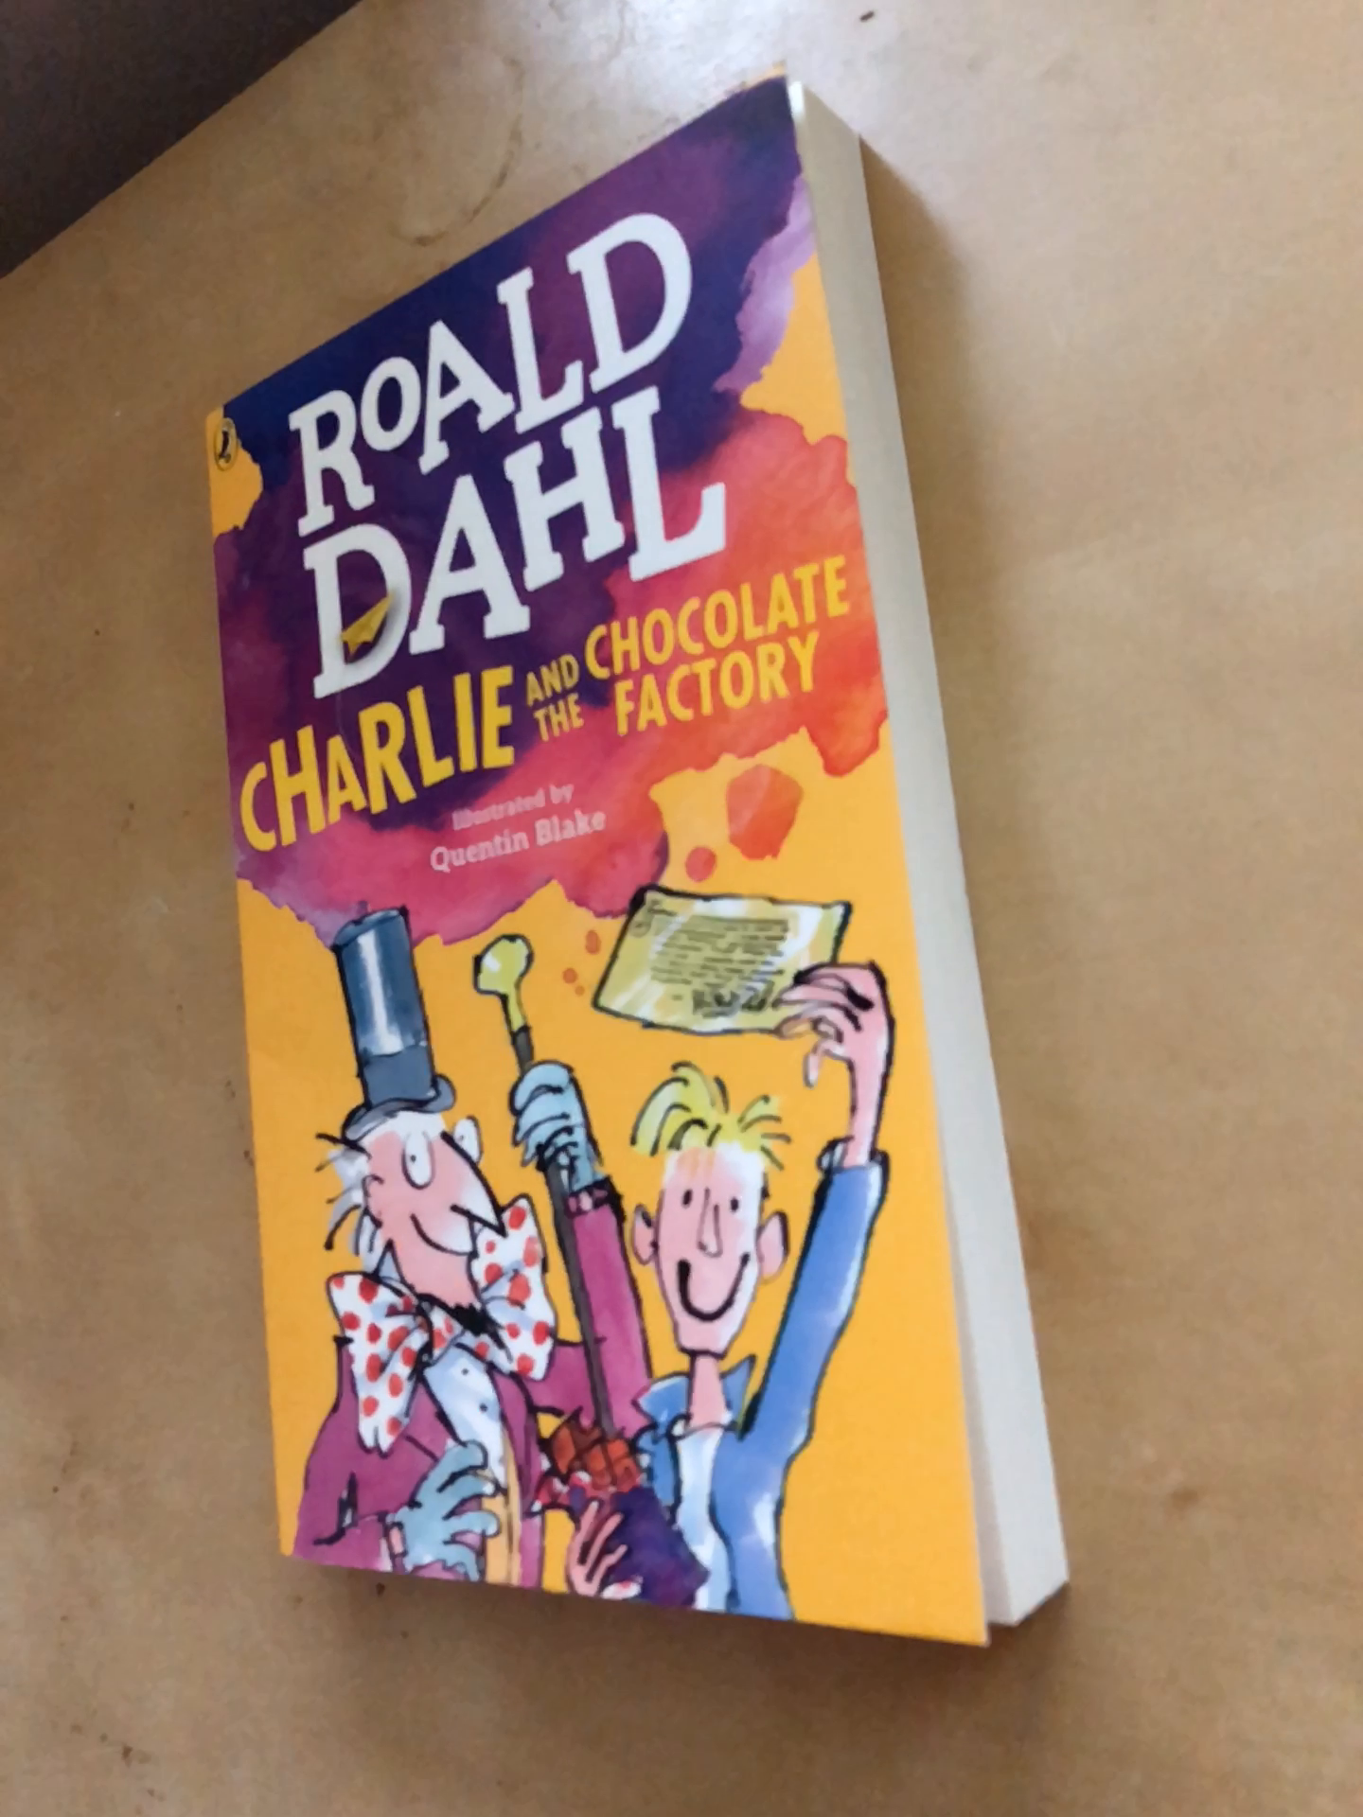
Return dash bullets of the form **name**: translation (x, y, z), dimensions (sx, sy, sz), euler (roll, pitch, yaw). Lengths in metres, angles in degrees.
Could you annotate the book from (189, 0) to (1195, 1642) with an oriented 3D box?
- **book**: translation (-0.011, -0.007, 0.230), dimensions (0.135, 0.040, 0.201), euler (-13, 79, 34)
